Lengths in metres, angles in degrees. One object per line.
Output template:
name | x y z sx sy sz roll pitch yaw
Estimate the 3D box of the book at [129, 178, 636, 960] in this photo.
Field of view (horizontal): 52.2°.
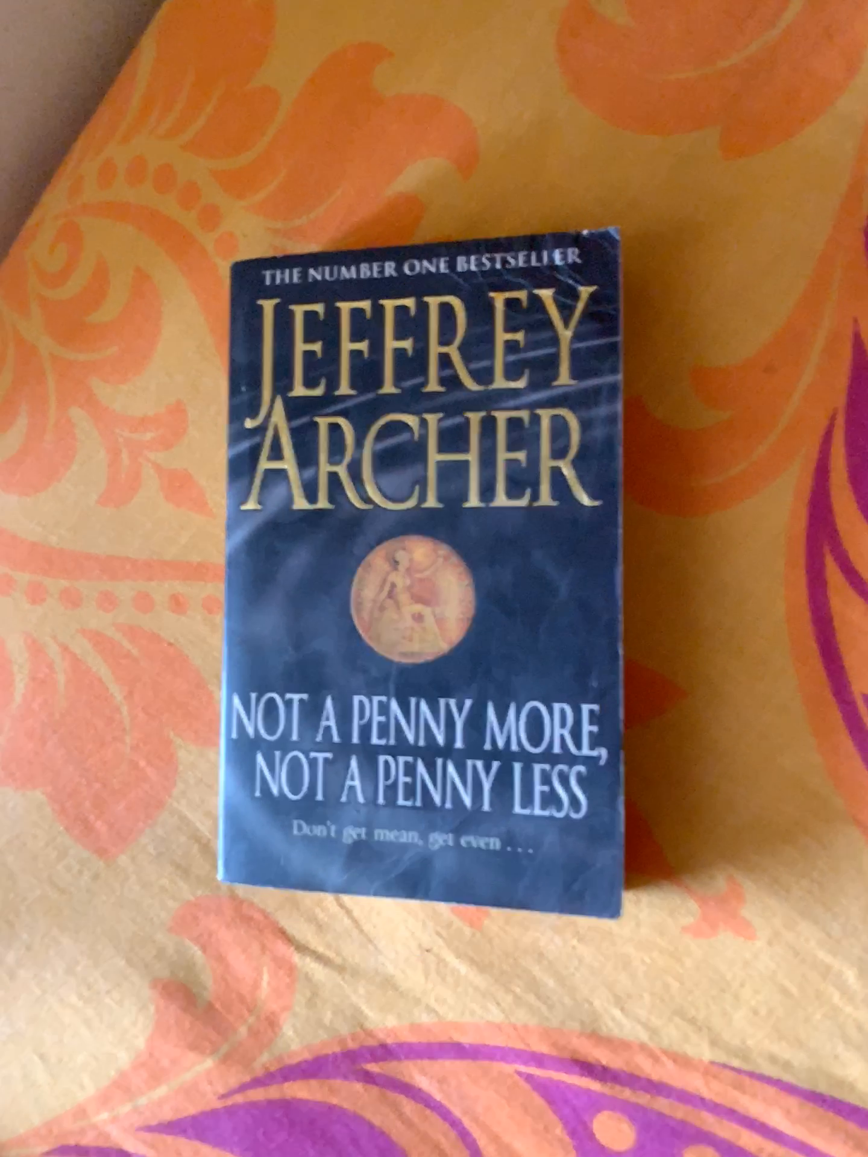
book | -0.009 -0.004 0.207 0.110 0.030 0.160 0 84 13
